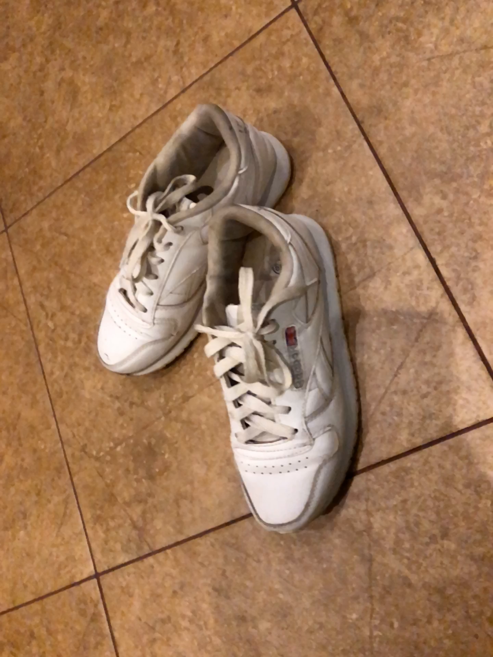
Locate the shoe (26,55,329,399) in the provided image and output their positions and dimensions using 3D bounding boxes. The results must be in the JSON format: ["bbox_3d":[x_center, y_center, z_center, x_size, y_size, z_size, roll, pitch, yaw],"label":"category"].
[{"bbox_3d":[-0.059,-0.073,0.469,0.100,0.100,0.260,40,101,26],"label":"shoe"}]

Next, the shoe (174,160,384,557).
[{"bbox_3d":[0.024,0.024,0.410,0.110,0.100,0.250,-8,79,26],"label":"shoe"}]
